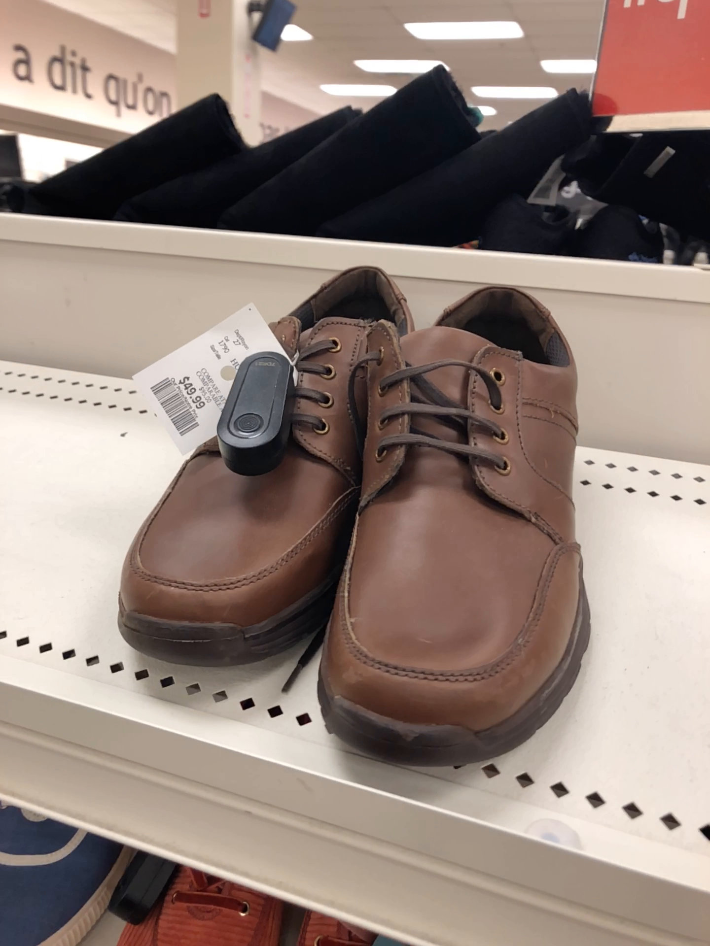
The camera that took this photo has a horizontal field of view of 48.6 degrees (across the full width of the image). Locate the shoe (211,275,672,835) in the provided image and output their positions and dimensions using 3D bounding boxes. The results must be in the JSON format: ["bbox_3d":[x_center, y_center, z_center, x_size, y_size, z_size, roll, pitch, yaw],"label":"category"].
[{"bbox_3d":[0.064,-0.014,0.375,0.120,0.109,0.342,8,22,14],"label":"shoe"}]

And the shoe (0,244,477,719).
[{"bbox_3d":[-0.031,-0.038,0.411,0.120,0.109,0.332,9,25,17],"label":"shoe"}]
